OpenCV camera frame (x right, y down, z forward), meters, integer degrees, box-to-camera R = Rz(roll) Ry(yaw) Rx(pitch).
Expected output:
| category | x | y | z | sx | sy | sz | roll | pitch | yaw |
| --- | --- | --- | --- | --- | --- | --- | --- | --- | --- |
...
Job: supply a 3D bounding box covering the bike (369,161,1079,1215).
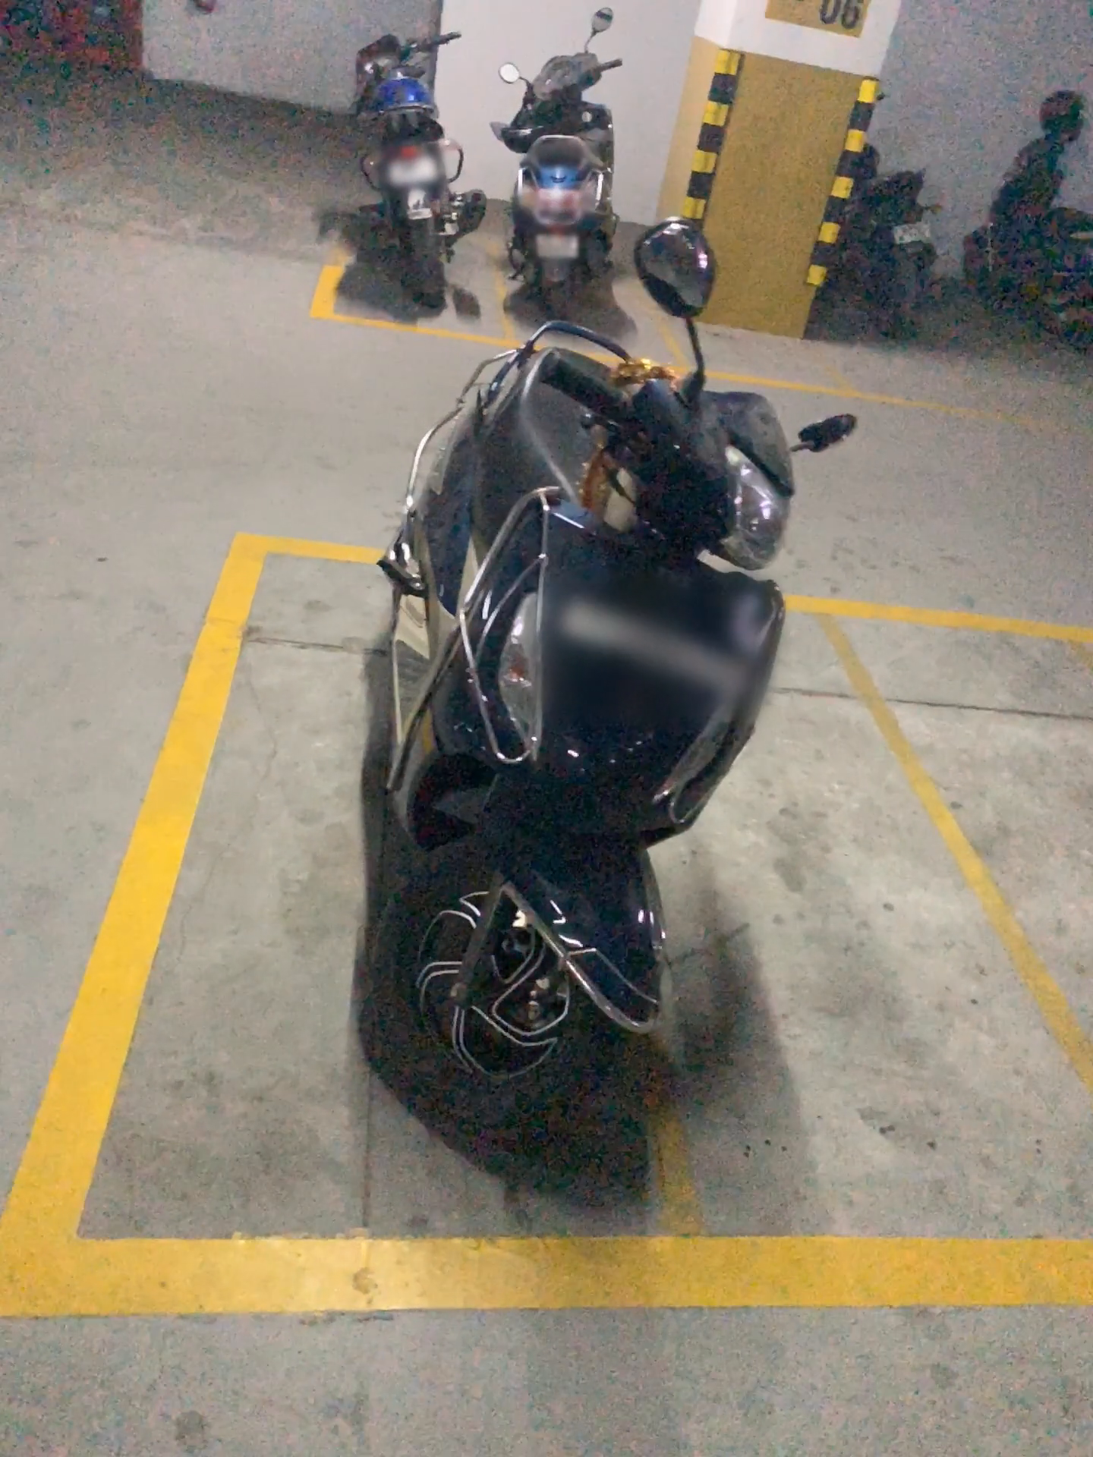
| category | x | y | z | sx | sy | sz | roll | pitch | yaw |
| --- | --- | --- | --- | --- | --- | --- | --- | --- | --- |
| bike | 0.072 | -0.223 | 2.116 | 0.664 | 1.028 | 1.700 | 2 | 39 | -14 |
